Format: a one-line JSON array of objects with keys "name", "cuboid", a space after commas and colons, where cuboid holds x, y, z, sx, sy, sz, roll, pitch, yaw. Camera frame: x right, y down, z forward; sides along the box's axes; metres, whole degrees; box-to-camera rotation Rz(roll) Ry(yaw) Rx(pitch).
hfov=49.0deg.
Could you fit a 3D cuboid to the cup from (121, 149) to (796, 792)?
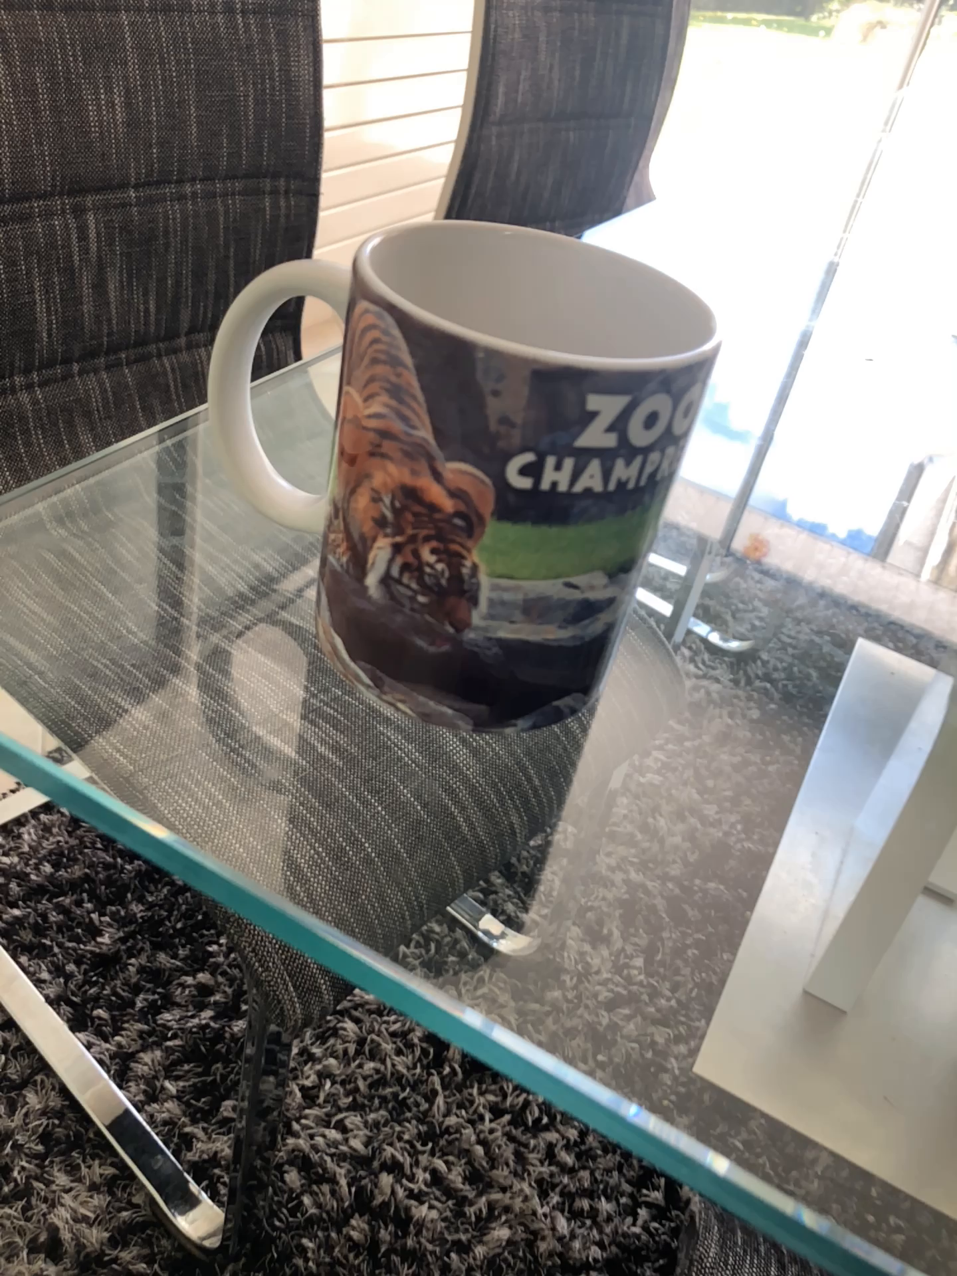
[{"name": "cup", "cuboid": [-0.006, -0.044, 0.243, 0.120, 0.089, 0.081, 21, 37, 11]}]
